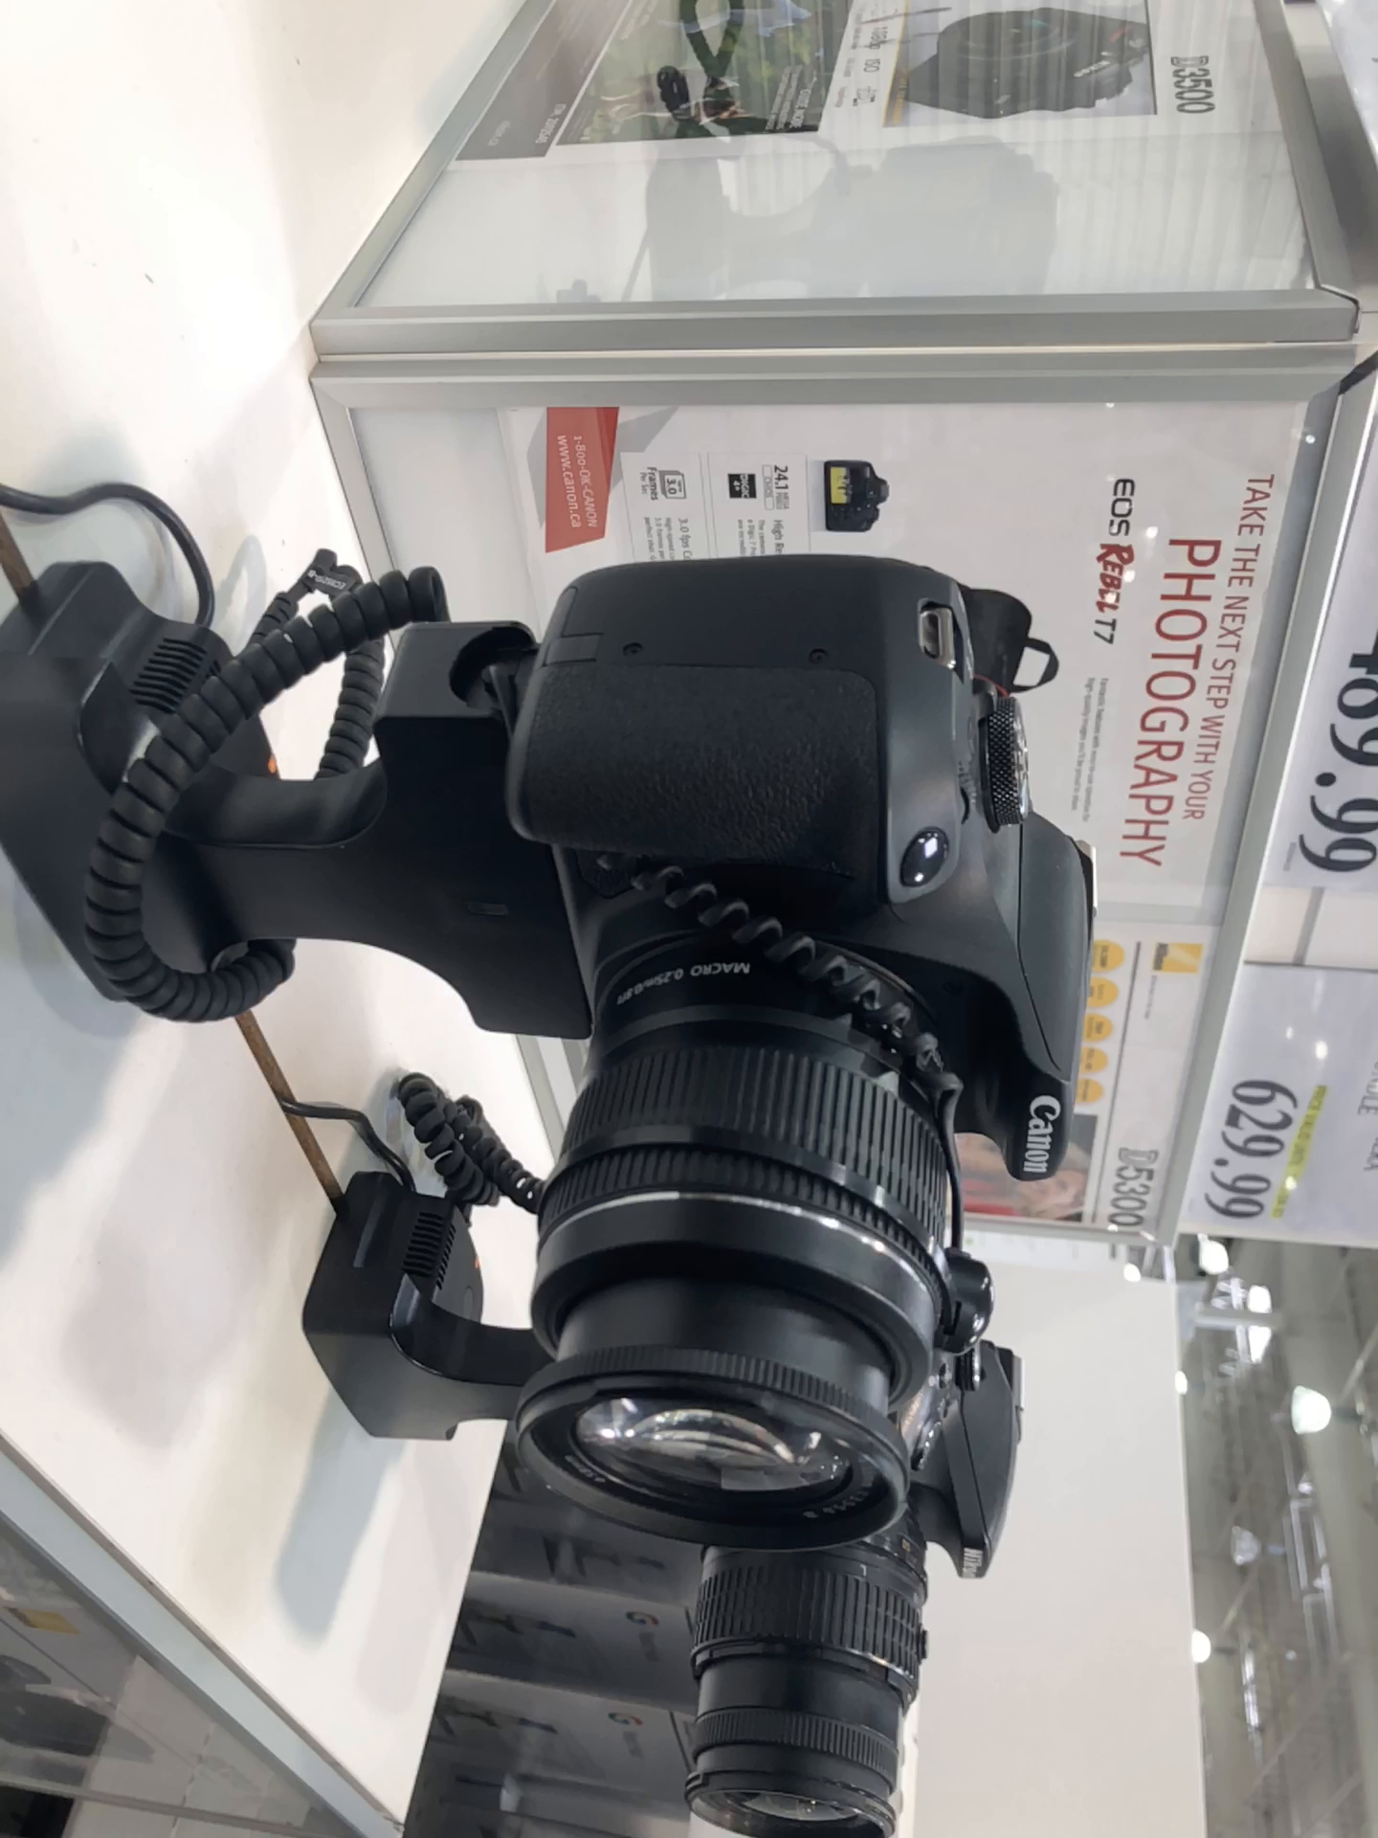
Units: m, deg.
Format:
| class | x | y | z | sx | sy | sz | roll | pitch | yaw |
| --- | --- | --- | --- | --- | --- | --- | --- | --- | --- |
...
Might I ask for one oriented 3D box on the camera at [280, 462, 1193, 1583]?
| class | x | y | z | sx | sy | sz | roll | pitch | yaw |
| --- | --- | --- | --- | --- | --- | --- | --- | --- | --- |
| camera | 0.021 | 0.017 | 0.278 | 0.130 | 0.110 | 0.150 | 81 | 15 | -51 |
